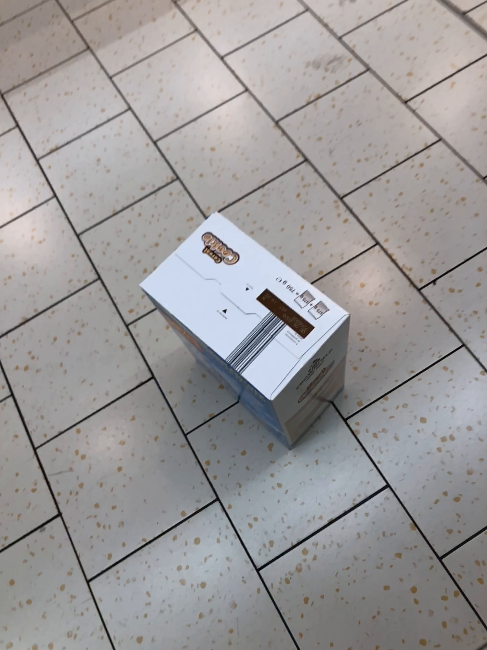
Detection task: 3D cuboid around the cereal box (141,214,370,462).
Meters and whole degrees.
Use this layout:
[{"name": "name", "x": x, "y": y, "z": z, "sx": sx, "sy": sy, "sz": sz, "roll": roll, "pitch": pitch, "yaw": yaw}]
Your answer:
[{"name": "cereal box", "x": 0.025, "y": 0.030, "z": 0.645, "sx": 0.200, "sy": 0.249, "sz": 0.120, "roll": 40, "pitch": 78, "yaw": 22}]
